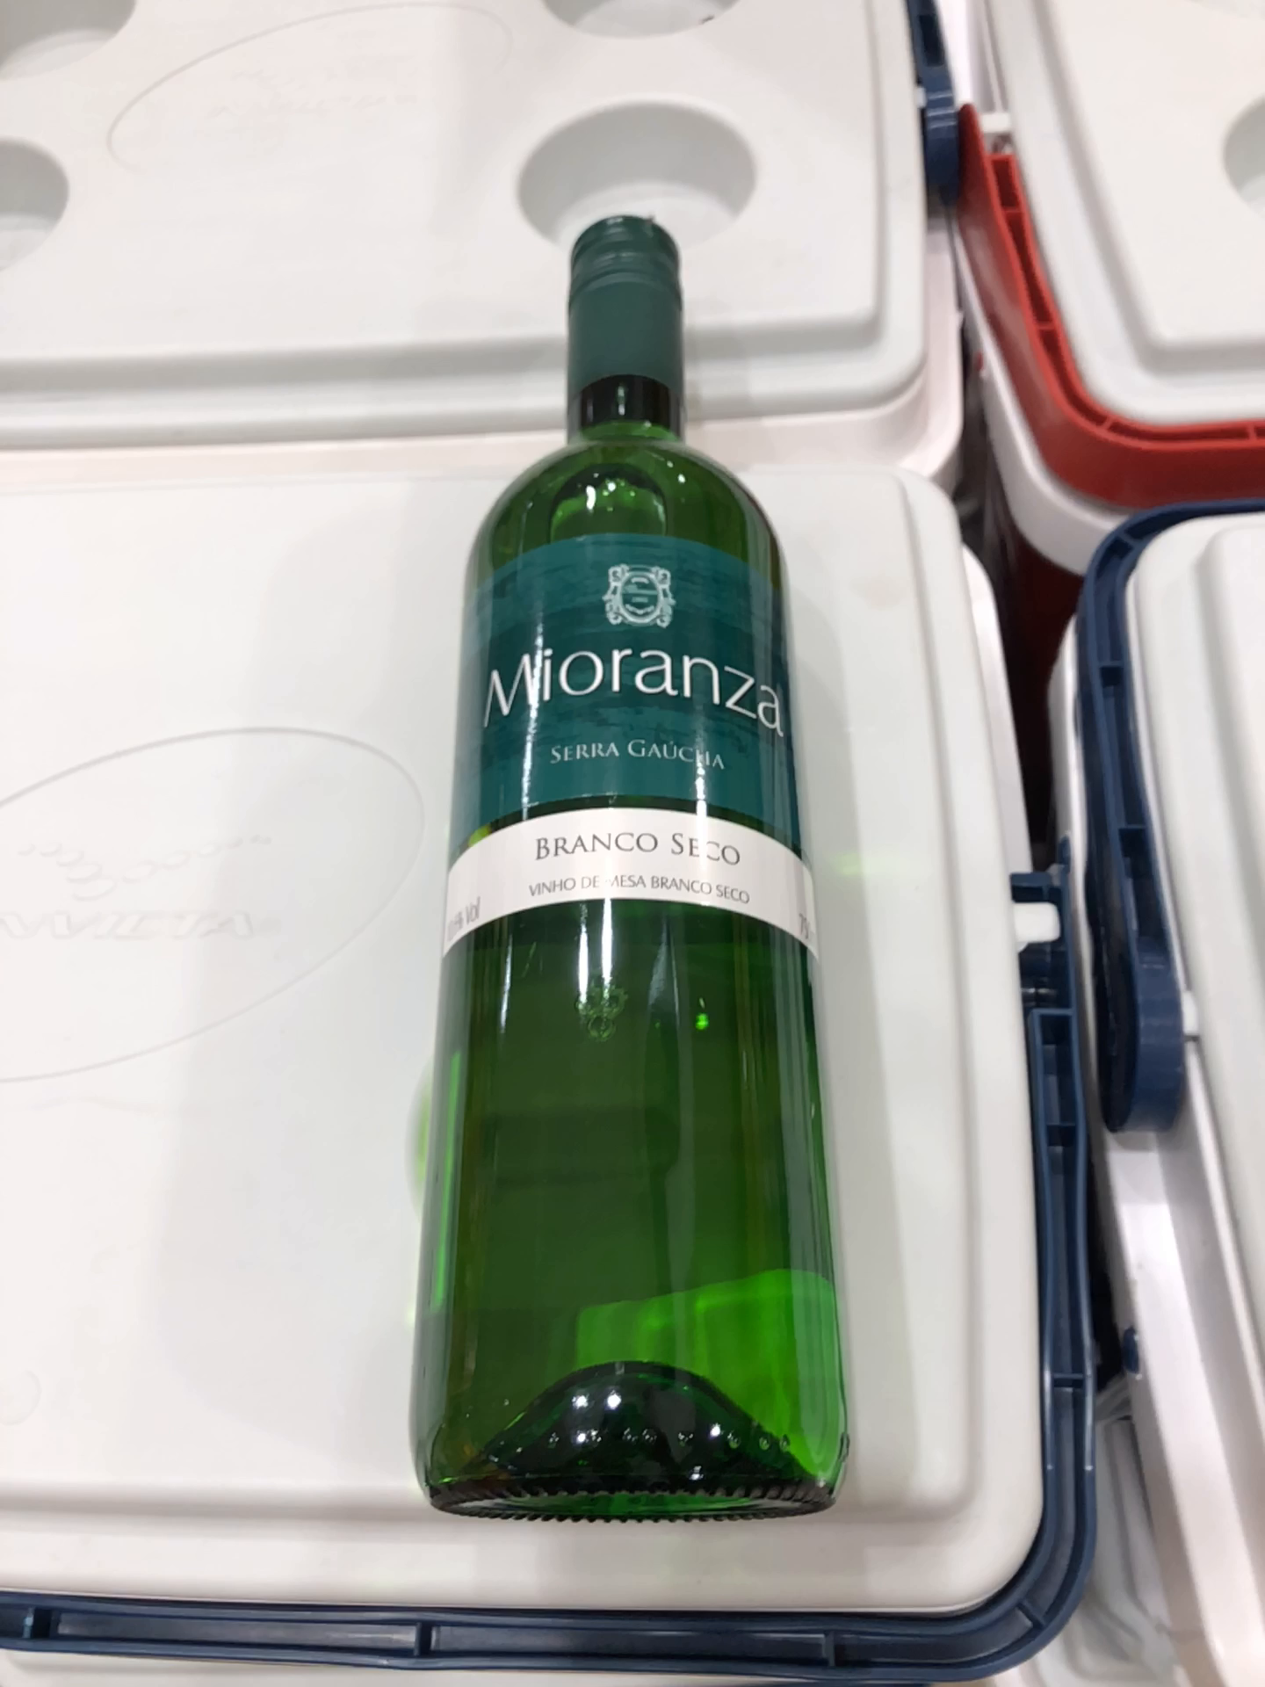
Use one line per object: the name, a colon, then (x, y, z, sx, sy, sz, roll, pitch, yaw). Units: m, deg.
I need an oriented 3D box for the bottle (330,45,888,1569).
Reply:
bottle: (-0.001, -0.039, 0.323, 0.080, 0.070, 0.362, -3, 60, 5)
